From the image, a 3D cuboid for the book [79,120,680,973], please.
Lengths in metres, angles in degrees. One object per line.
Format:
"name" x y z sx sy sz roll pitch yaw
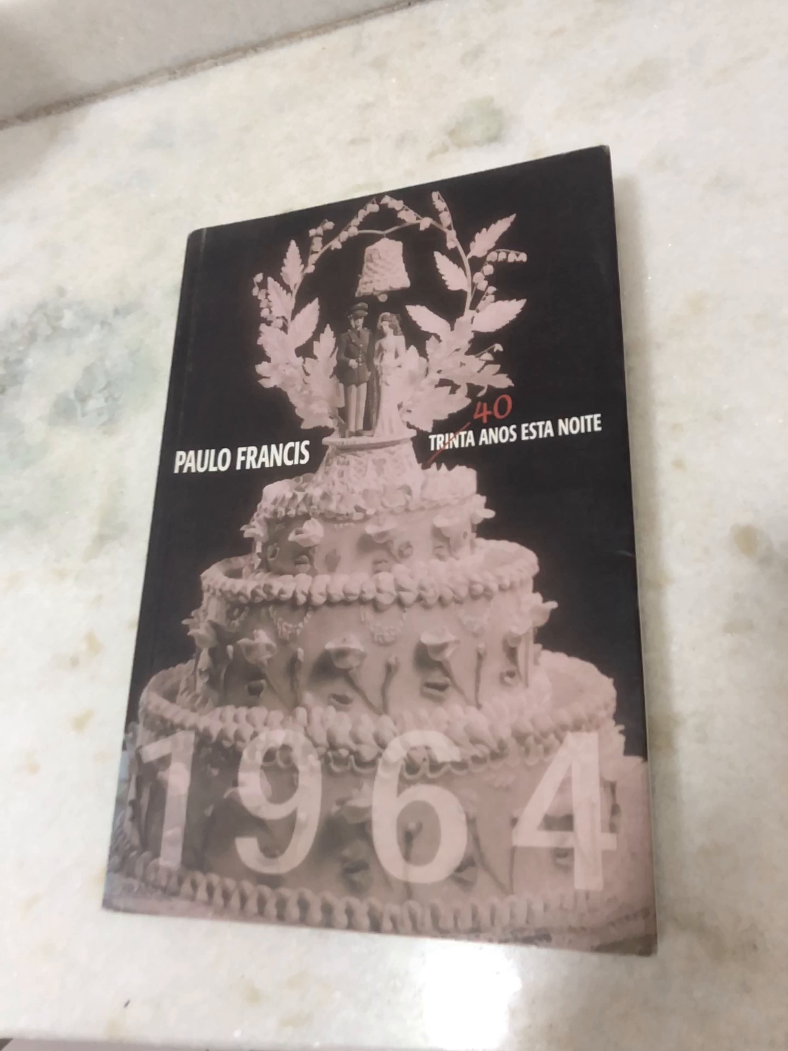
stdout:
"book" -0.006 -0.002 0.231 0.140 0.020 0.204 -5 71 19
